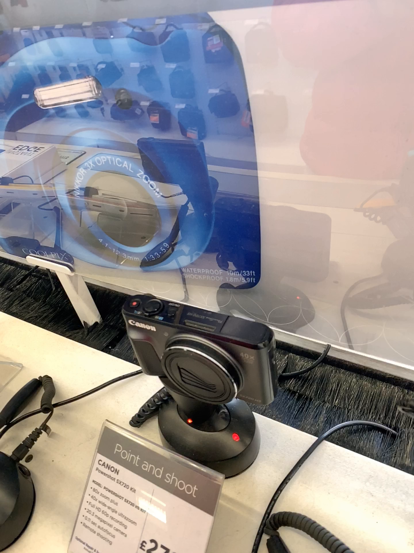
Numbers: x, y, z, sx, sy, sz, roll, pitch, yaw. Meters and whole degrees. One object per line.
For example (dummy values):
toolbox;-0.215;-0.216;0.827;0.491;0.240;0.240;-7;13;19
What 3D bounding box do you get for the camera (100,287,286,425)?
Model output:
camera;-0.008;0.050;0.280;0.113;0.061;0.031;11;45;26
